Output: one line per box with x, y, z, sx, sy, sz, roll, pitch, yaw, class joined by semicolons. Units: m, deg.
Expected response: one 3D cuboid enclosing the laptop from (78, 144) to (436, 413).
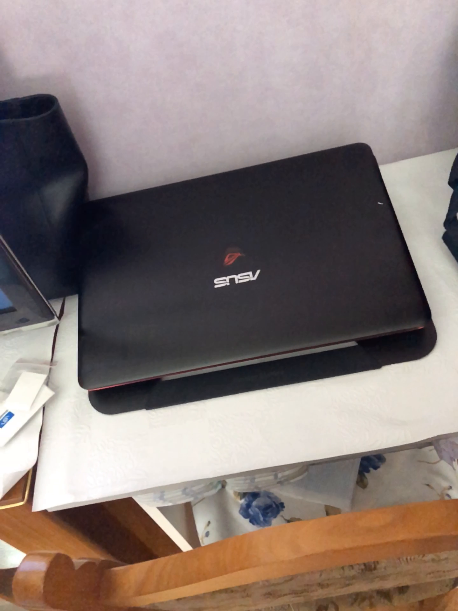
0.010;-0.040;0.636;0.394;0.060;0.267;-11;60;5;laptop
